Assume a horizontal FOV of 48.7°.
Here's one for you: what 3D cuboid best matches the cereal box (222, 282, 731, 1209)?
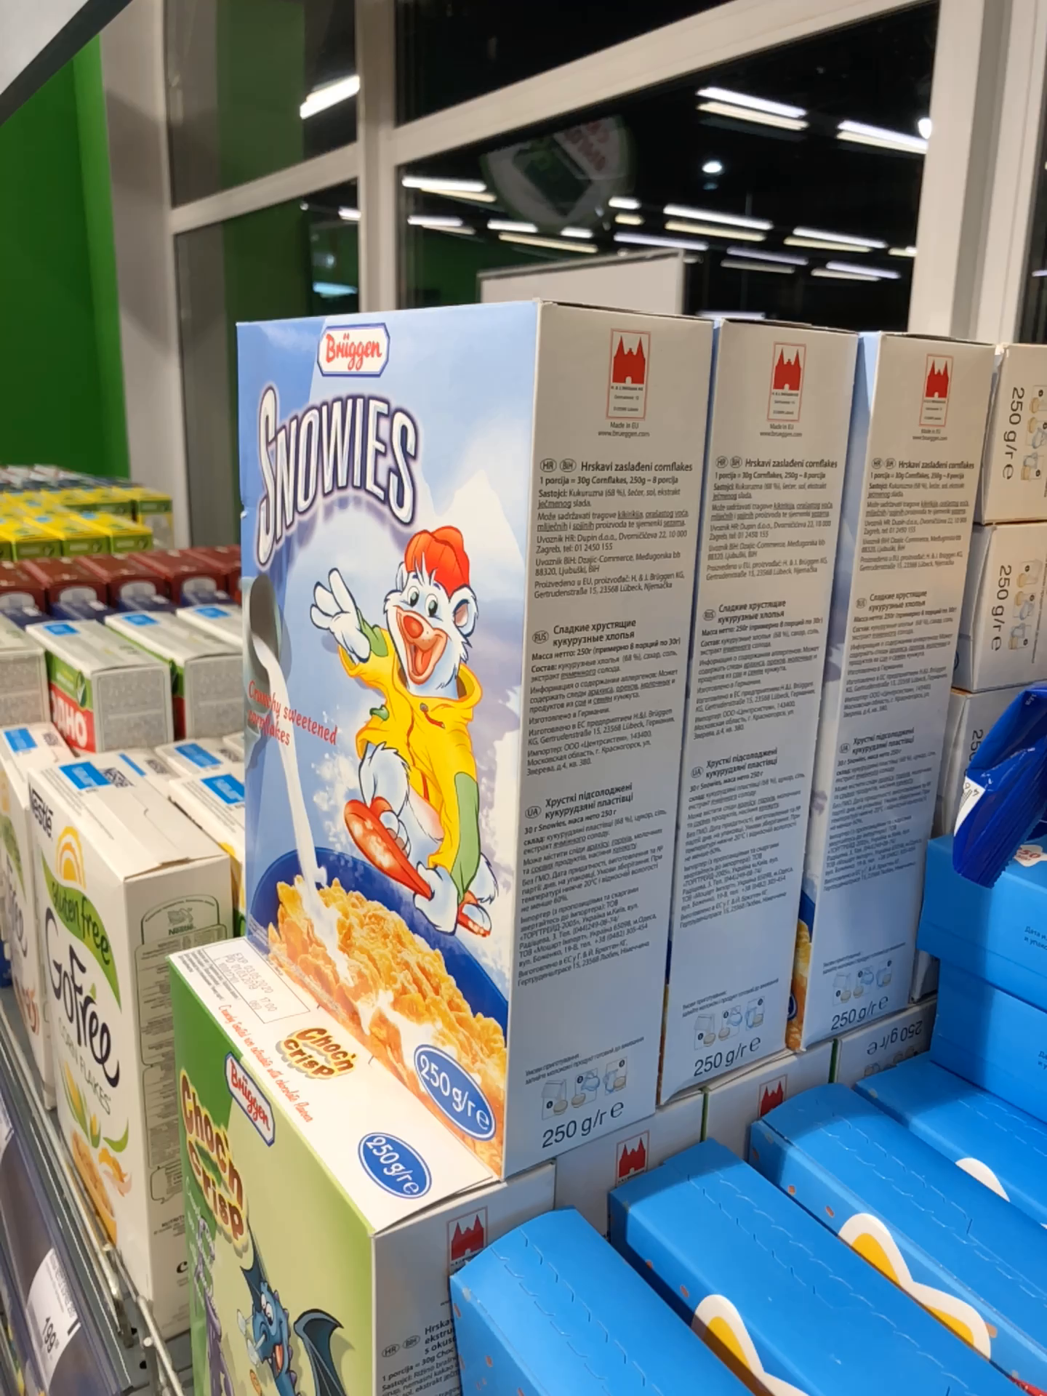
[{"bbox_3d":[-0.034,-0.001,0.411,0.070,0.259,0.200,-7,16,-35],"label":"cereal box"}]
